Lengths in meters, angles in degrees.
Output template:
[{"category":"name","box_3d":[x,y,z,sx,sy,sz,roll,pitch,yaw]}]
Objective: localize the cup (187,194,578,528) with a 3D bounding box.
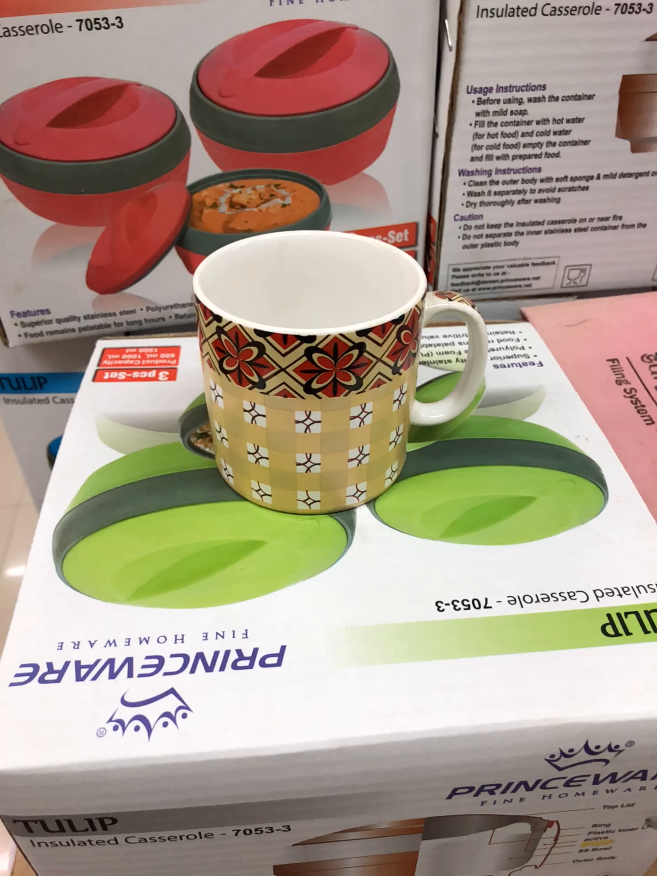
[{"category":"cup","box_3d":[0.012,-0.030,0.259,0.110,0.079,0.080,-5,37,-6]}]
